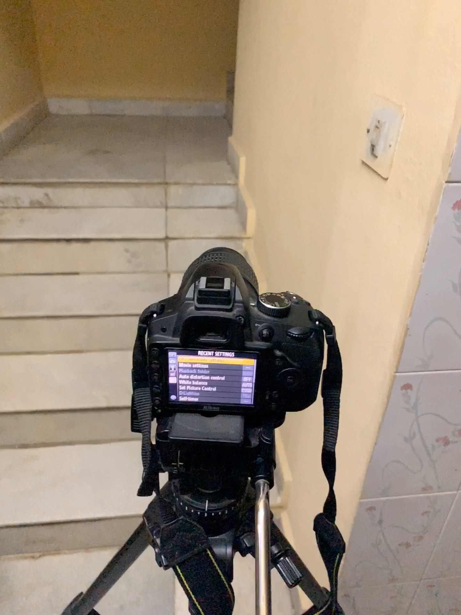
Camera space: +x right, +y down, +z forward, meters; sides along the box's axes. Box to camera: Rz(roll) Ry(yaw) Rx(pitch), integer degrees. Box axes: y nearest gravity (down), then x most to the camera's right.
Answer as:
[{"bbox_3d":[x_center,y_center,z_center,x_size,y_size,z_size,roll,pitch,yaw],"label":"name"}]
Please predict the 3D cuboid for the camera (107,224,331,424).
[{"bbox_3d":[-0.007,0.006,0.360,0.134,0.090,0.130,3,30,0],"label":"camera"}]
